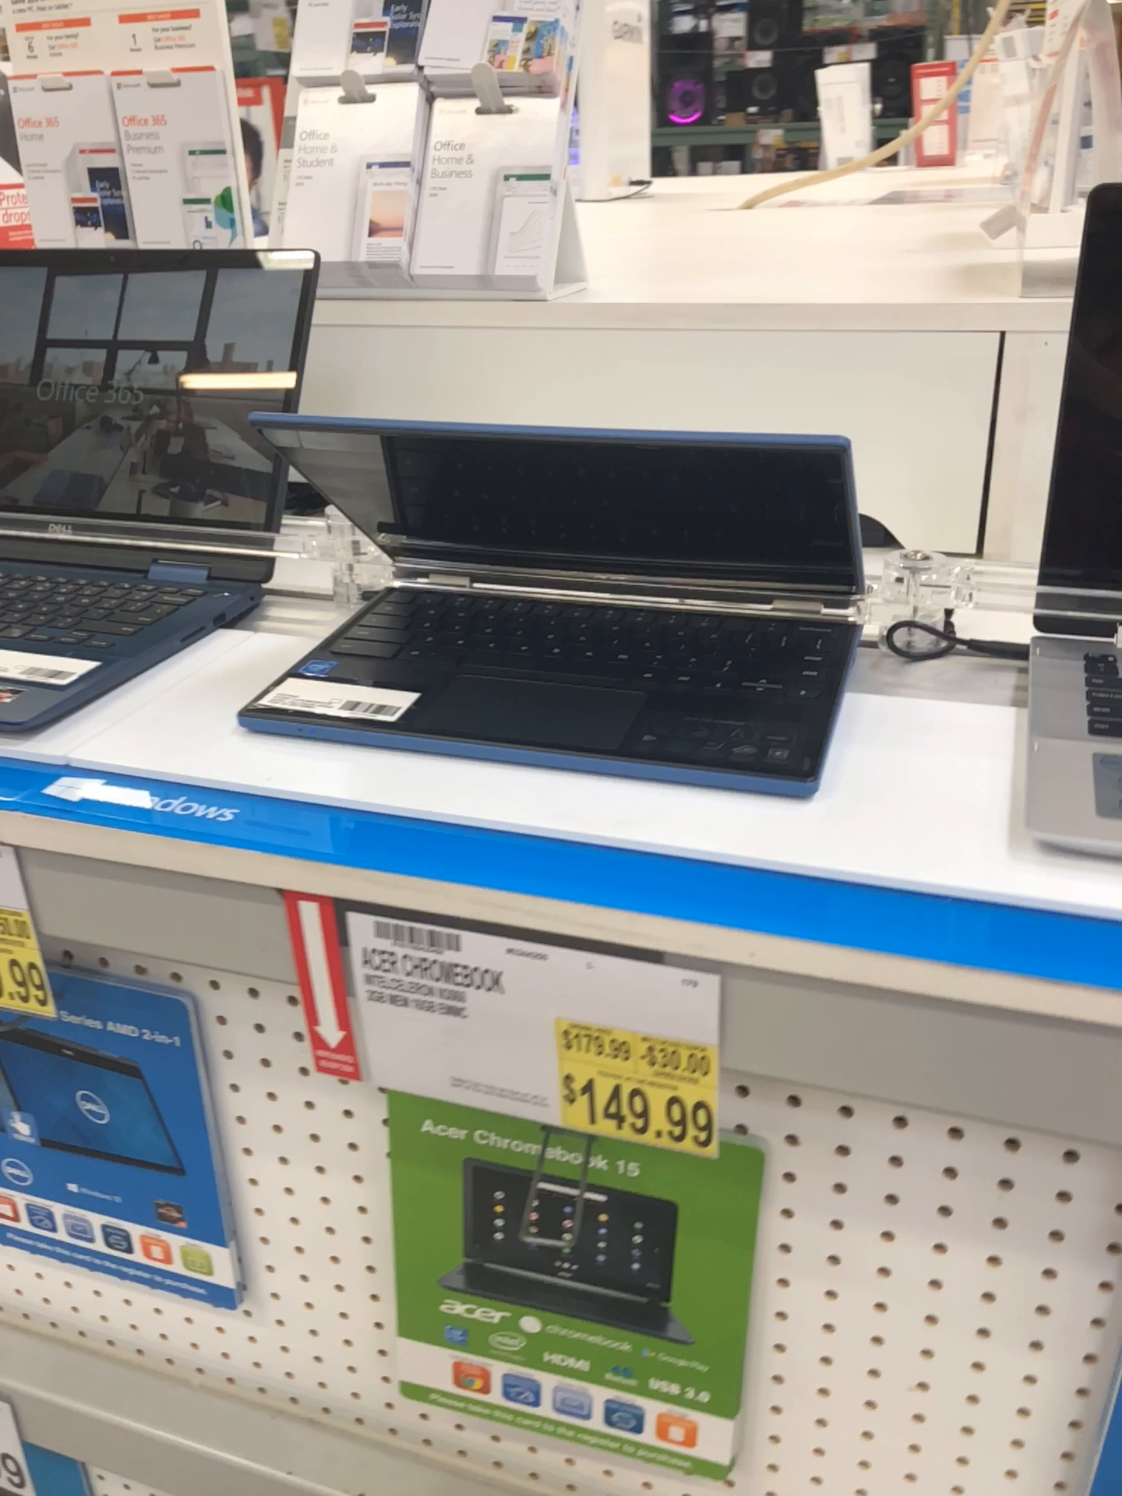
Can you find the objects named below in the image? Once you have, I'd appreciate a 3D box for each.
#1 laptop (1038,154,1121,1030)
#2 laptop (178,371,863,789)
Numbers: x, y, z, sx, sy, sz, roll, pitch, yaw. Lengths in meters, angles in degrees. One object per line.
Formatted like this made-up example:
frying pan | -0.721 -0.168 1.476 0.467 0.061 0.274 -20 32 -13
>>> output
laptop | 0.387 -0.094 0.473 0.355 0.216 0.247 7 29 18
laptop | -0.006 -0.098 0.613 0.279 0.128 0.185 7 29 16
